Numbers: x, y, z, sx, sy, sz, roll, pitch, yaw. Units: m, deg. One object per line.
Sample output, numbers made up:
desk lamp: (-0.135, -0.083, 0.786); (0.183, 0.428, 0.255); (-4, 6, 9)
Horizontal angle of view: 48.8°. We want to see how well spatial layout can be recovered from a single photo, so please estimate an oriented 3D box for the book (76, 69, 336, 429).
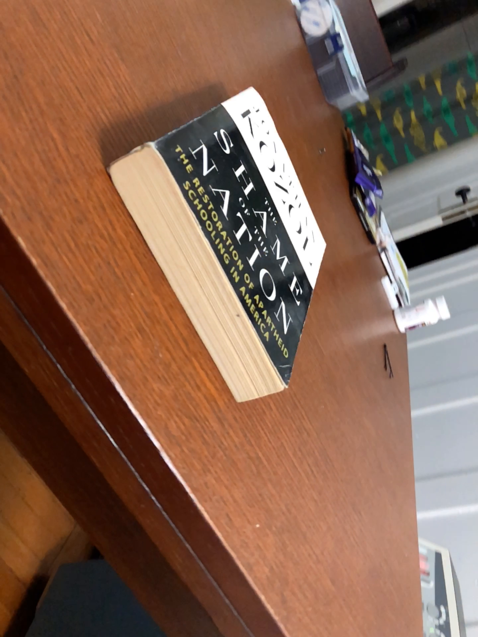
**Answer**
book: (0.008, -0.067, 0.342); (0.160, 0.030, 0.231); (62, 26, -20)
